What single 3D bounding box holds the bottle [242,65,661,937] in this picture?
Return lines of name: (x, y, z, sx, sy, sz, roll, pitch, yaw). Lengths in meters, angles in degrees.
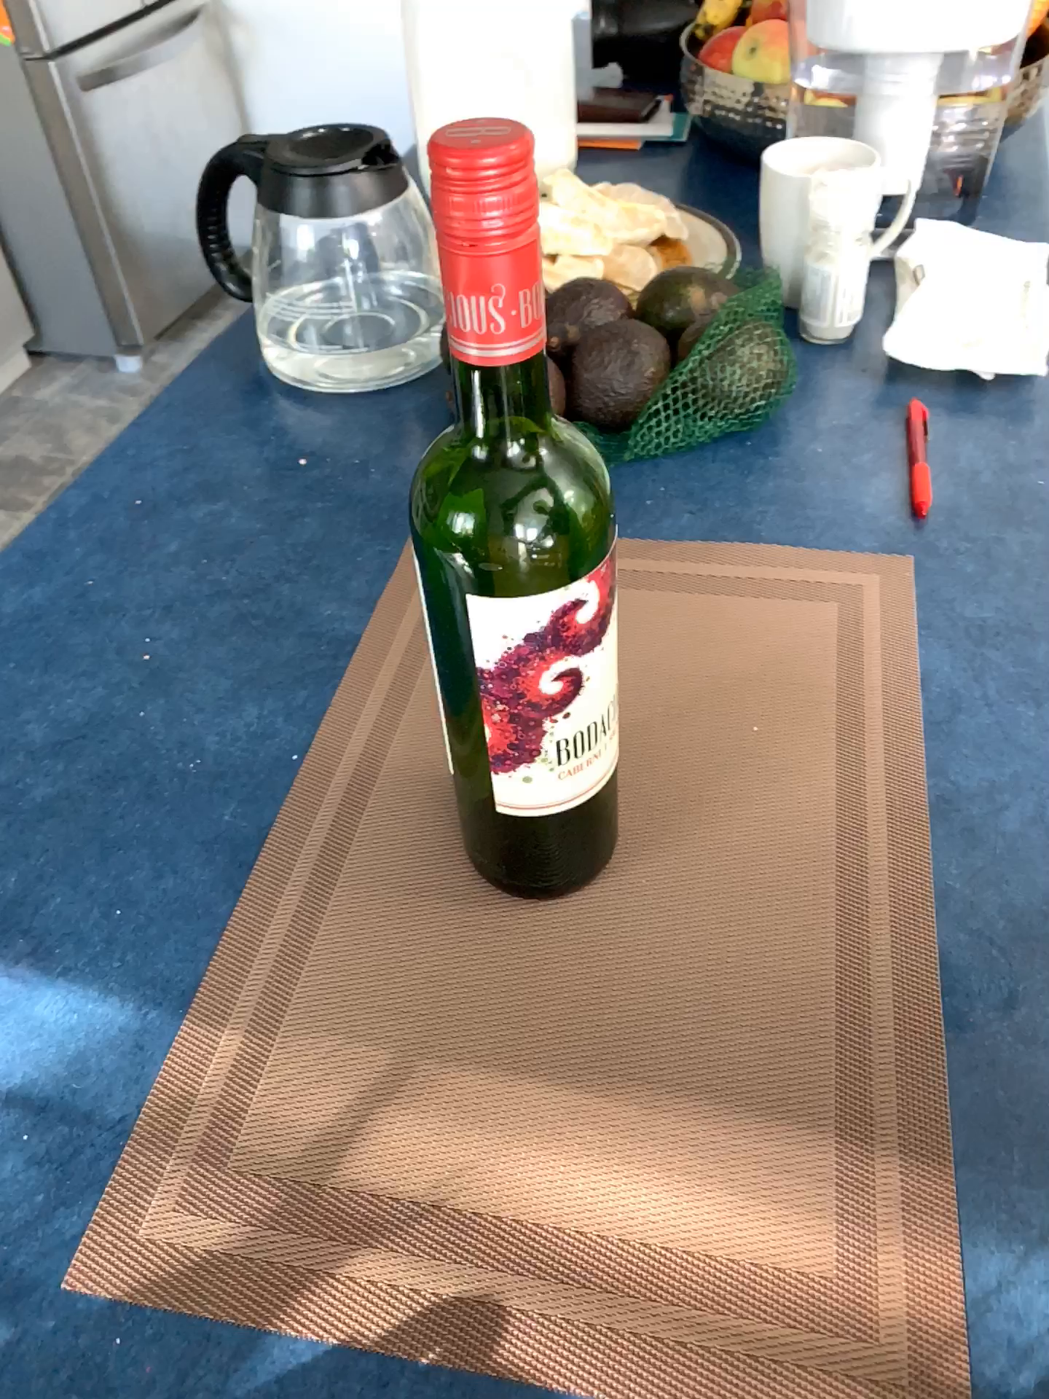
bottle: (-0.007, -0.045, 0.383, 0.080, 0.297, 0.081, -3, 44, 3)
